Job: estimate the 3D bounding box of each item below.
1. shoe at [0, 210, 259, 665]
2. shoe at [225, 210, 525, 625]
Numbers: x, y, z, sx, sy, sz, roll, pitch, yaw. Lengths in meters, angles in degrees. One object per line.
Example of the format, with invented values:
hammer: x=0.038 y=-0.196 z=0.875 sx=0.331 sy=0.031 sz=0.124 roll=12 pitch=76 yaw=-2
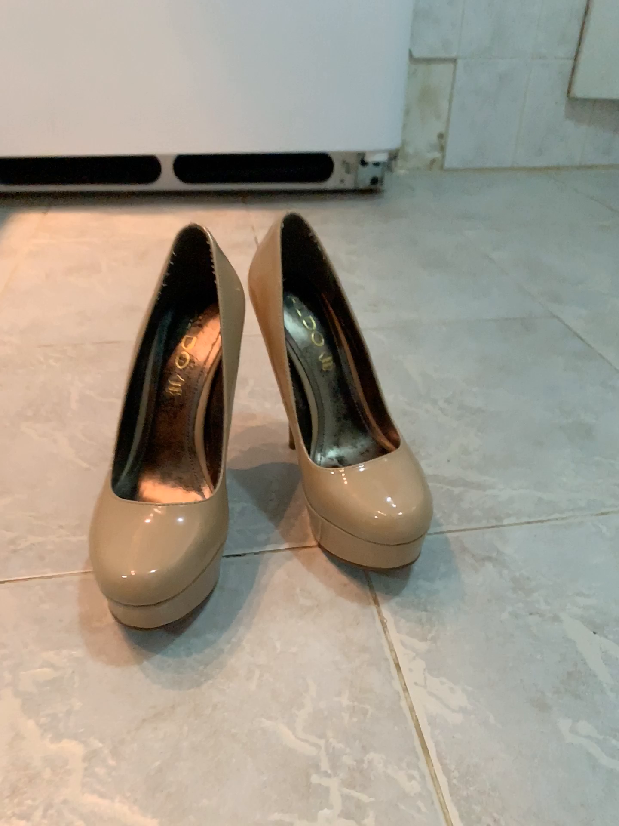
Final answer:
shoe: x=-0.082 y=0.001 z=0.377 sx=0.087 sy=0.176 sz=0.211 roll=1 pitch=34 yaw=-1
shoe: x=0.019 y=-0.013 z=0.409 sx=0.087 sy=0.166 sz=0.211 roll=-11 pitch=36 yaw=-19
